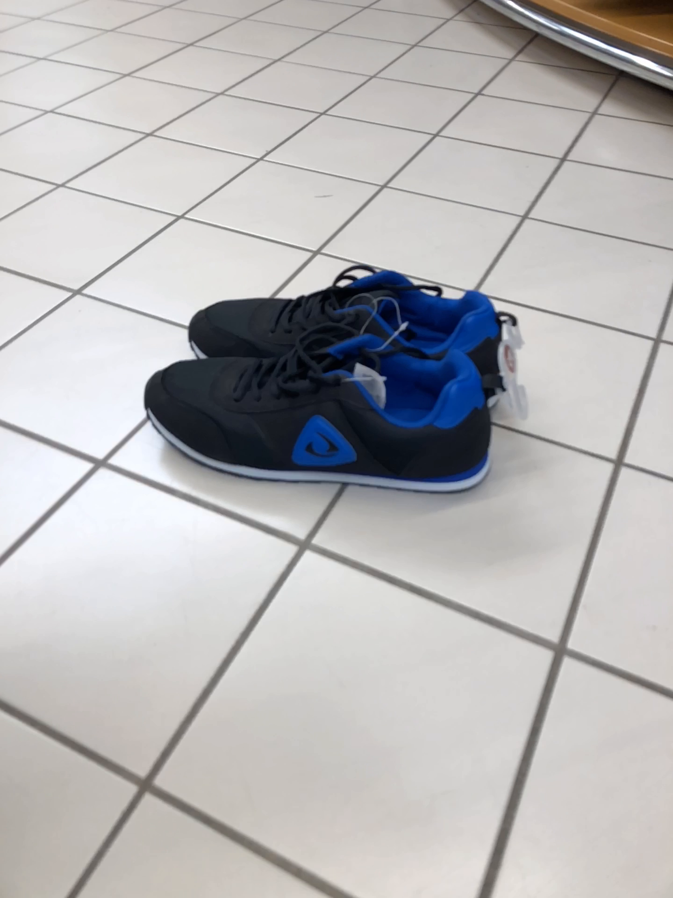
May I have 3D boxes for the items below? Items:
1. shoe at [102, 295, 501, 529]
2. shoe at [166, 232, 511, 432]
[{"bbox_3d":[-0.024,-0.034,0.599,0.290,0.109,0.101,9,45,10],"label":"shoe"},{"bbox_3d":[0.004,-0.112,0.683,0.290,0.109,0.101,9,45,10],"label":"shoe"}]
